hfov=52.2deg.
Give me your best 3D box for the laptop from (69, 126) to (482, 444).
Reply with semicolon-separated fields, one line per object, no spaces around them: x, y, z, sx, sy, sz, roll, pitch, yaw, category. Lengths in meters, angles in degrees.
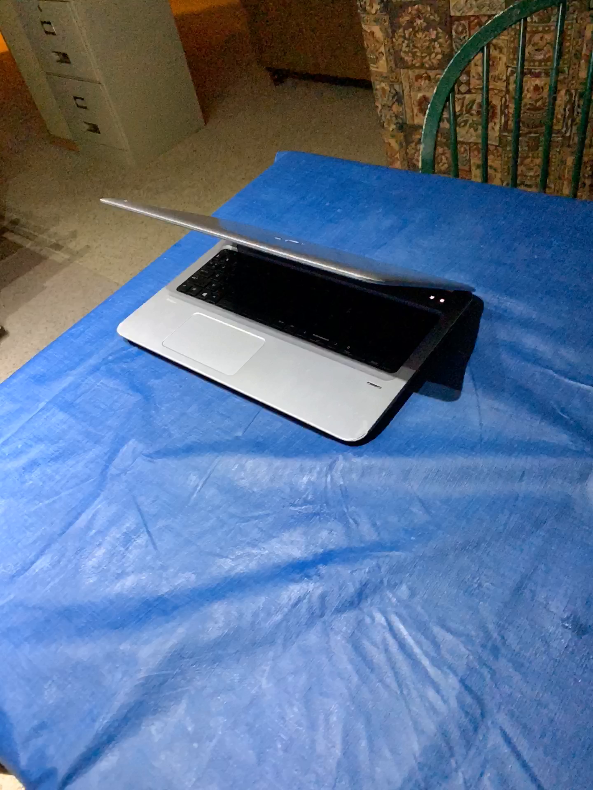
-0.022;-0.151;0.688;0.366;0.156;0.254;24;57;32;laptop
